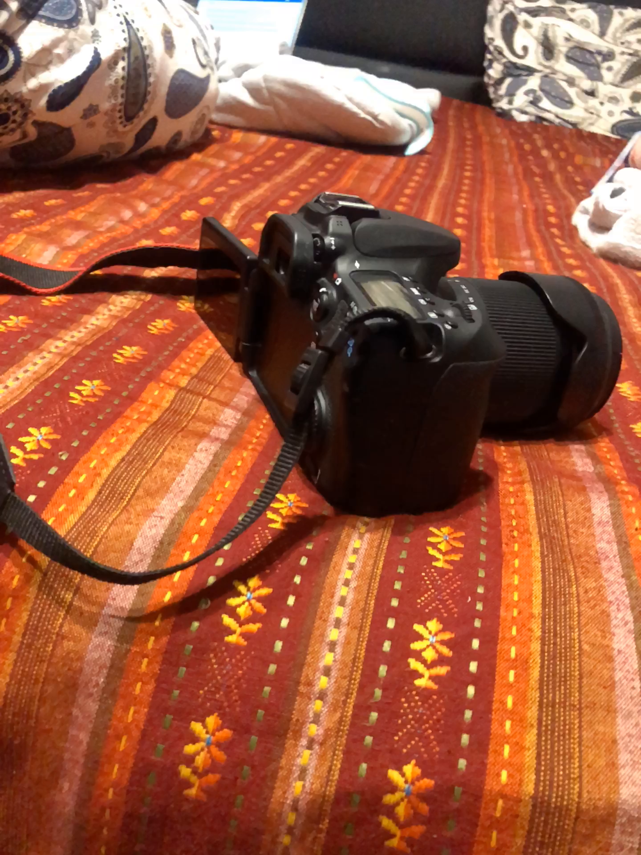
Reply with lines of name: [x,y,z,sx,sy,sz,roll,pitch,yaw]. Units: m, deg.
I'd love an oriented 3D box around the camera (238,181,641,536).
camera: [0.067,-0.043,0.334,0.170,0.099,0.131,-6,35,-25]
